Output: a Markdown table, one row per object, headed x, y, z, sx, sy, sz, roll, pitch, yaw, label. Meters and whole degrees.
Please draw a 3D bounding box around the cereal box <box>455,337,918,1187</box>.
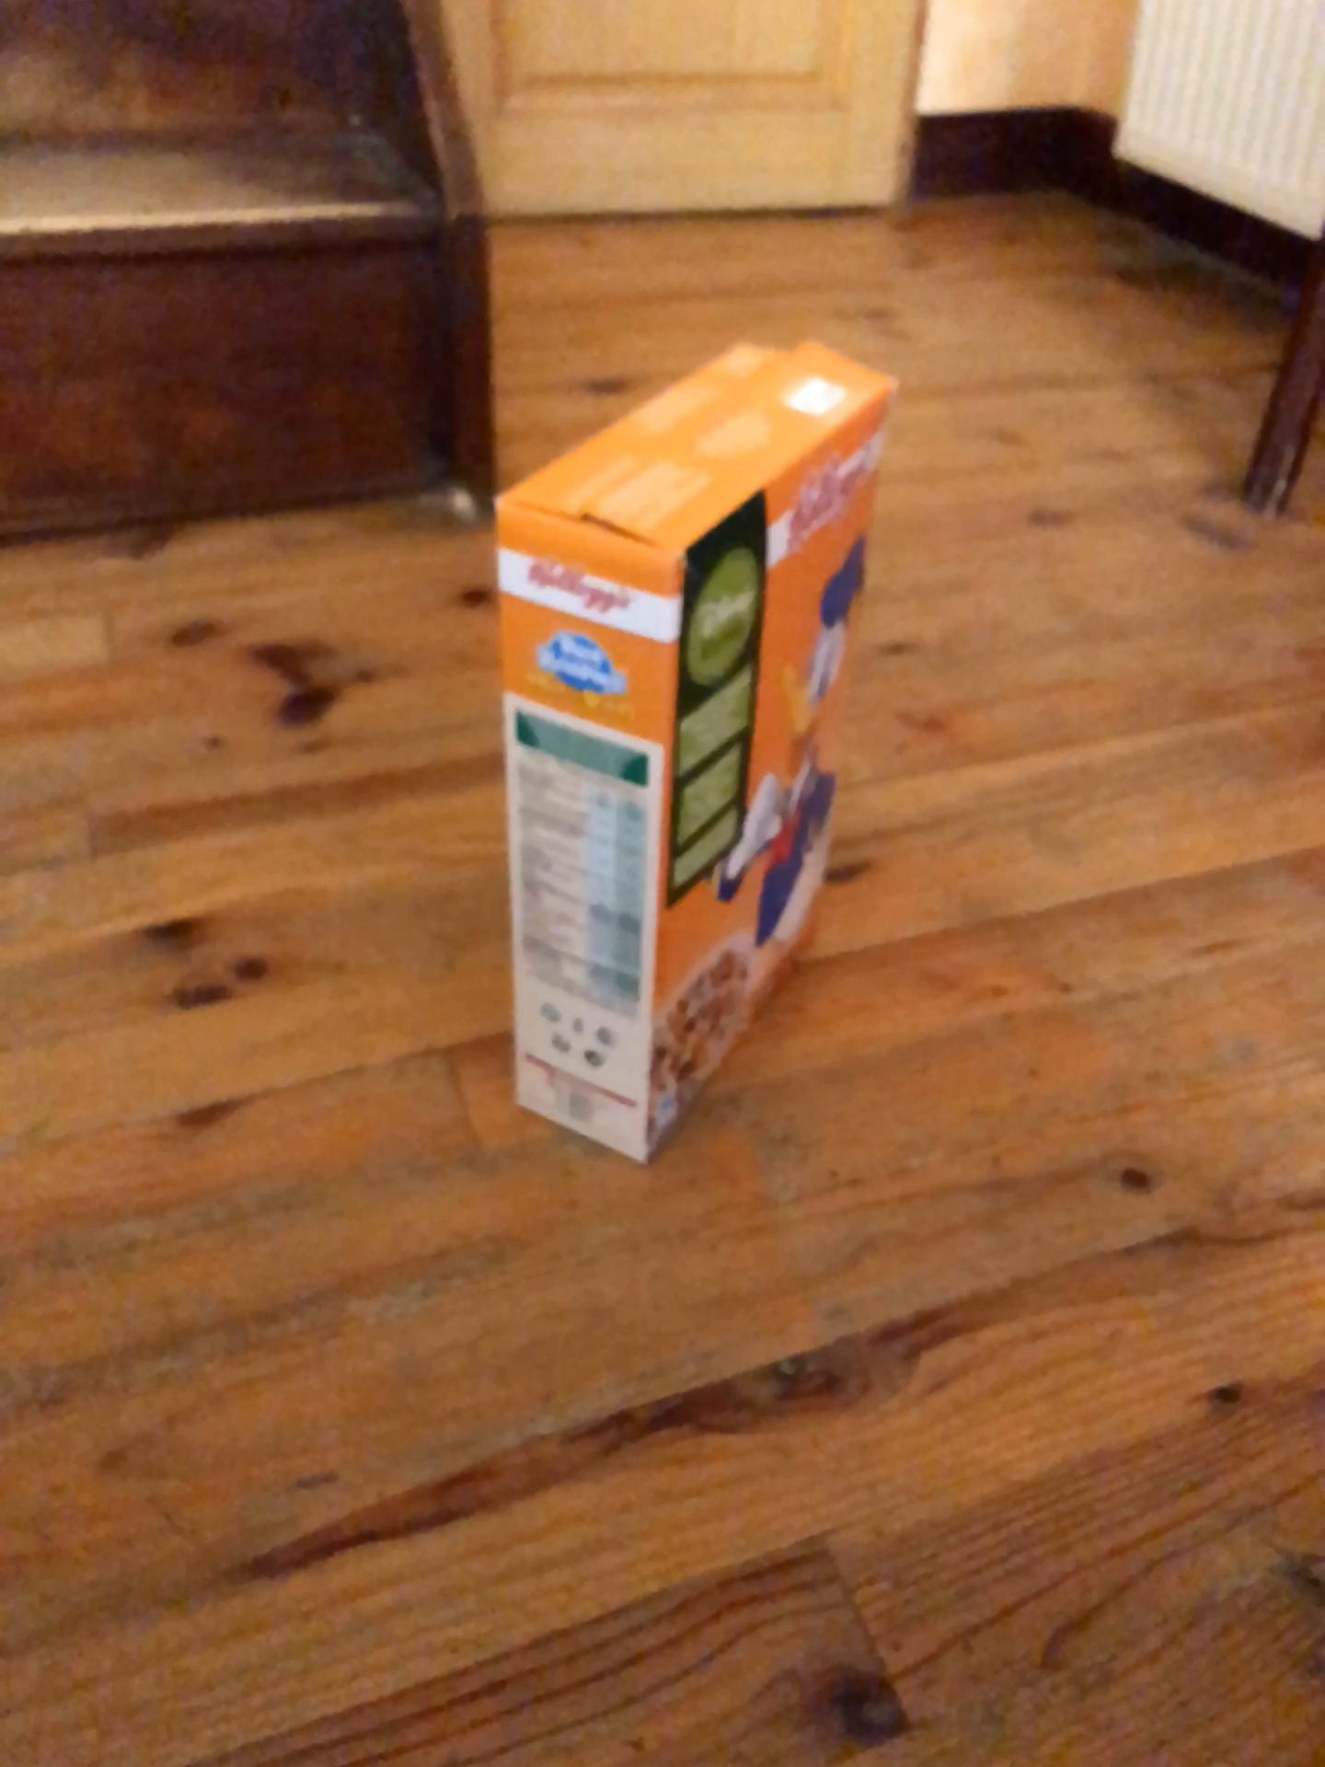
| x | y | z | sx | sy | sz | roll | pitch | yaw | label |
| --- | --- | --- | --- | --- | --- | --- | --- | --- | --- |
| 0.012 | -0.052 | 0.644 | 0.090 | 0.298 | 0.201 | 20 | 41 | 21 | cereal box |
